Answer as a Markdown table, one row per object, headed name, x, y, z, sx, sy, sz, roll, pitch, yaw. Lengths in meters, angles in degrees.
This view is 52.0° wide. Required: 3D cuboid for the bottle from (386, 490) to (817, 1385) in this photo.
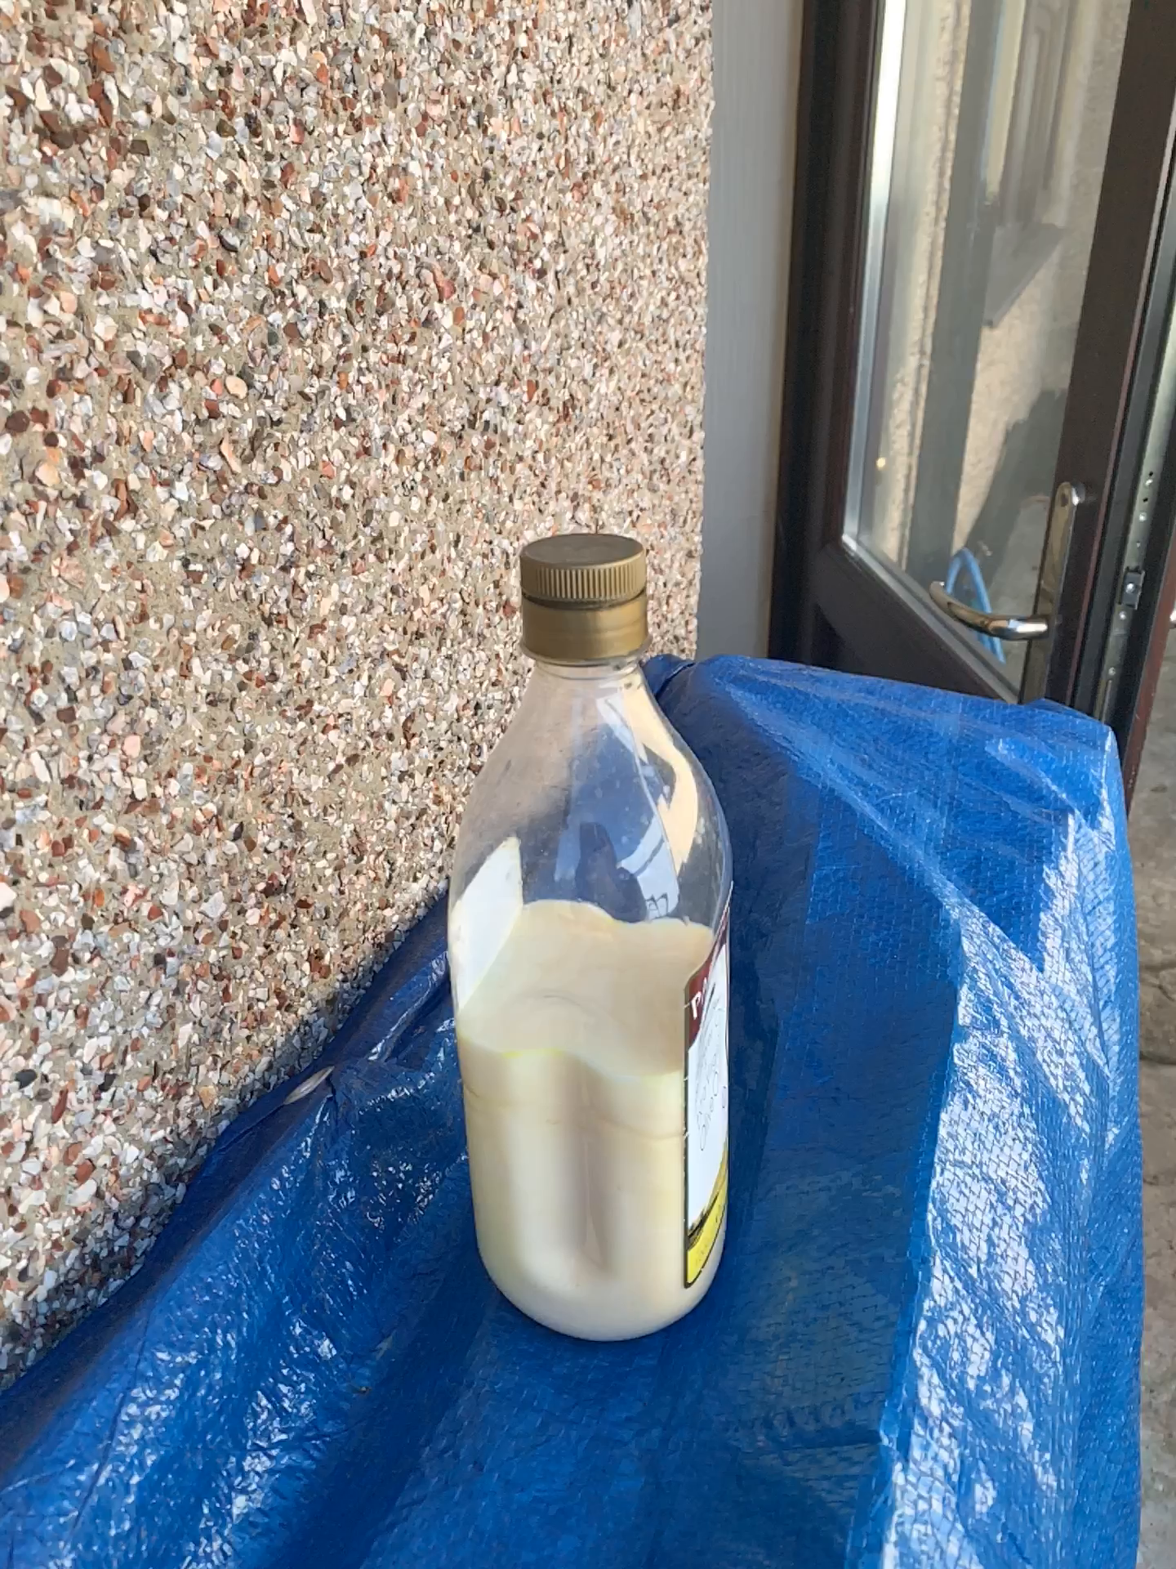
| name | x | y | z | sx | sy | sz | roll | pitch | yaw |
| --- | --- | --- | --- | --- | --- | --- | --- | --- | --- |
| bottle | 0.009 | 0.048 | 0.345 | 0.080 | 0.238 | 0.081 | -1 | 29 | 0 |
